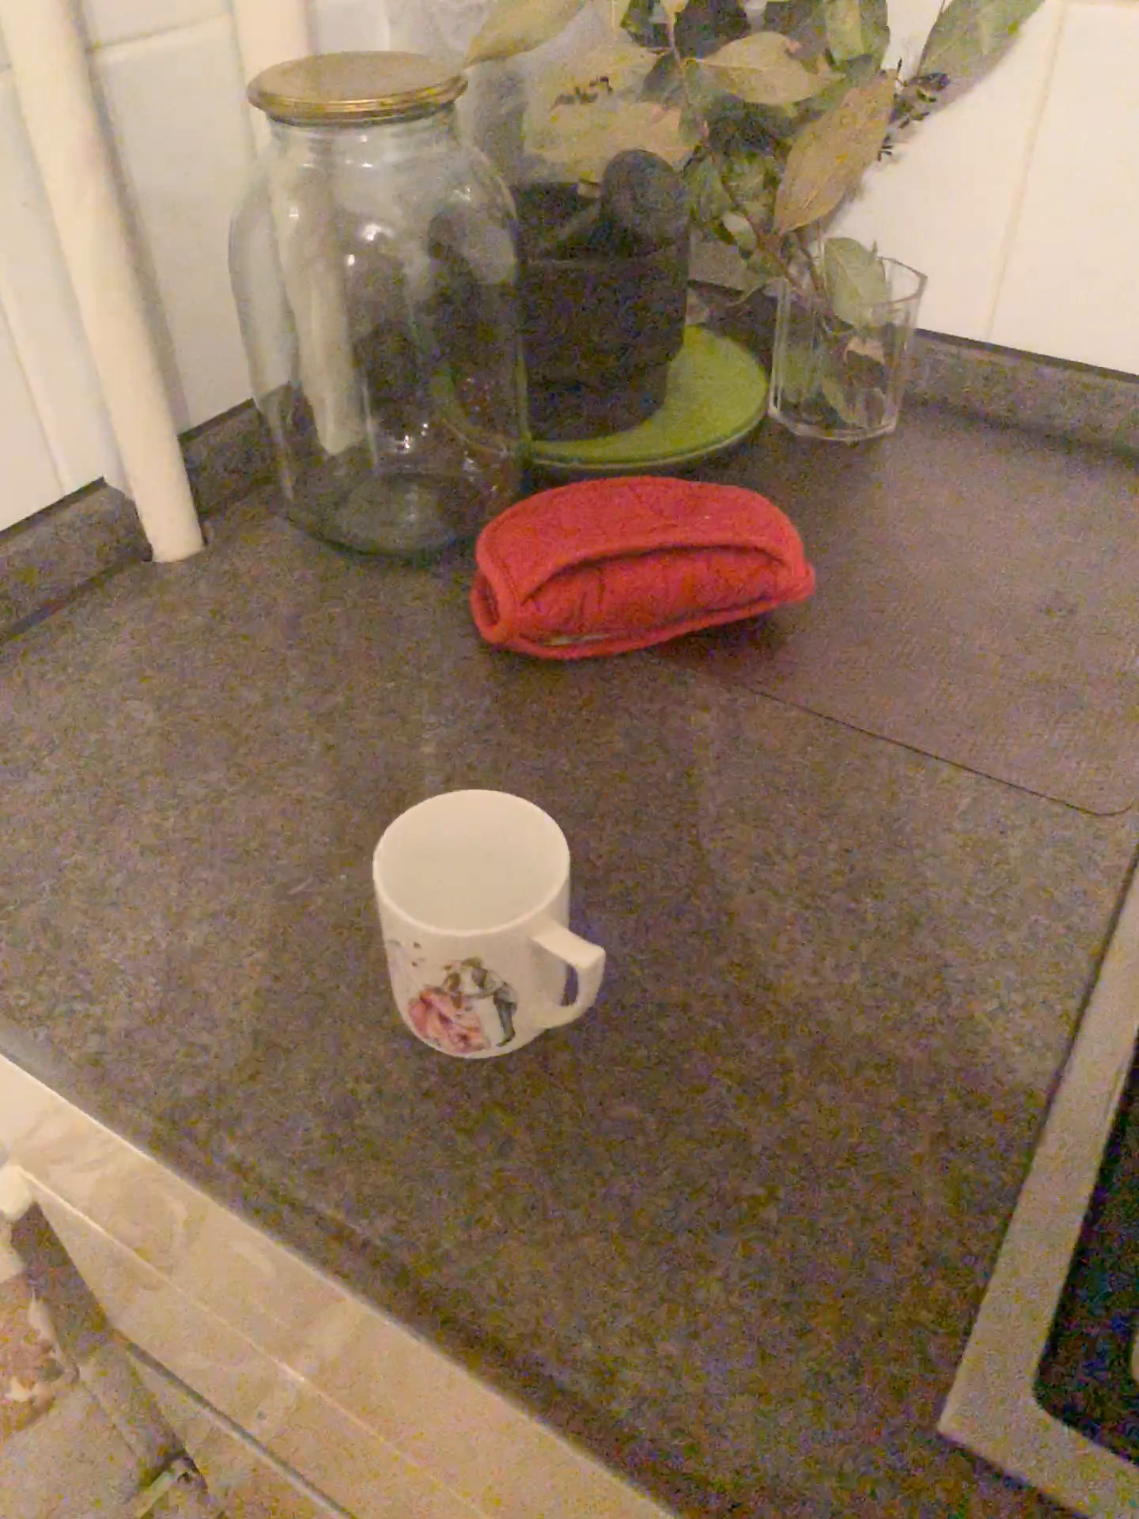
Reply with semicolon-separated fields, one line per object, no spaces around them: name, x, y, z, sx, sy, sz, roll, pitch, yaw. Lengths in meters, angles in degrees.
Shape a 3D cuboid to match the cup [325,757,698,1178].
cup;-0.017;0.060;0.355;0.090;0.069;0.060;31;50;31
